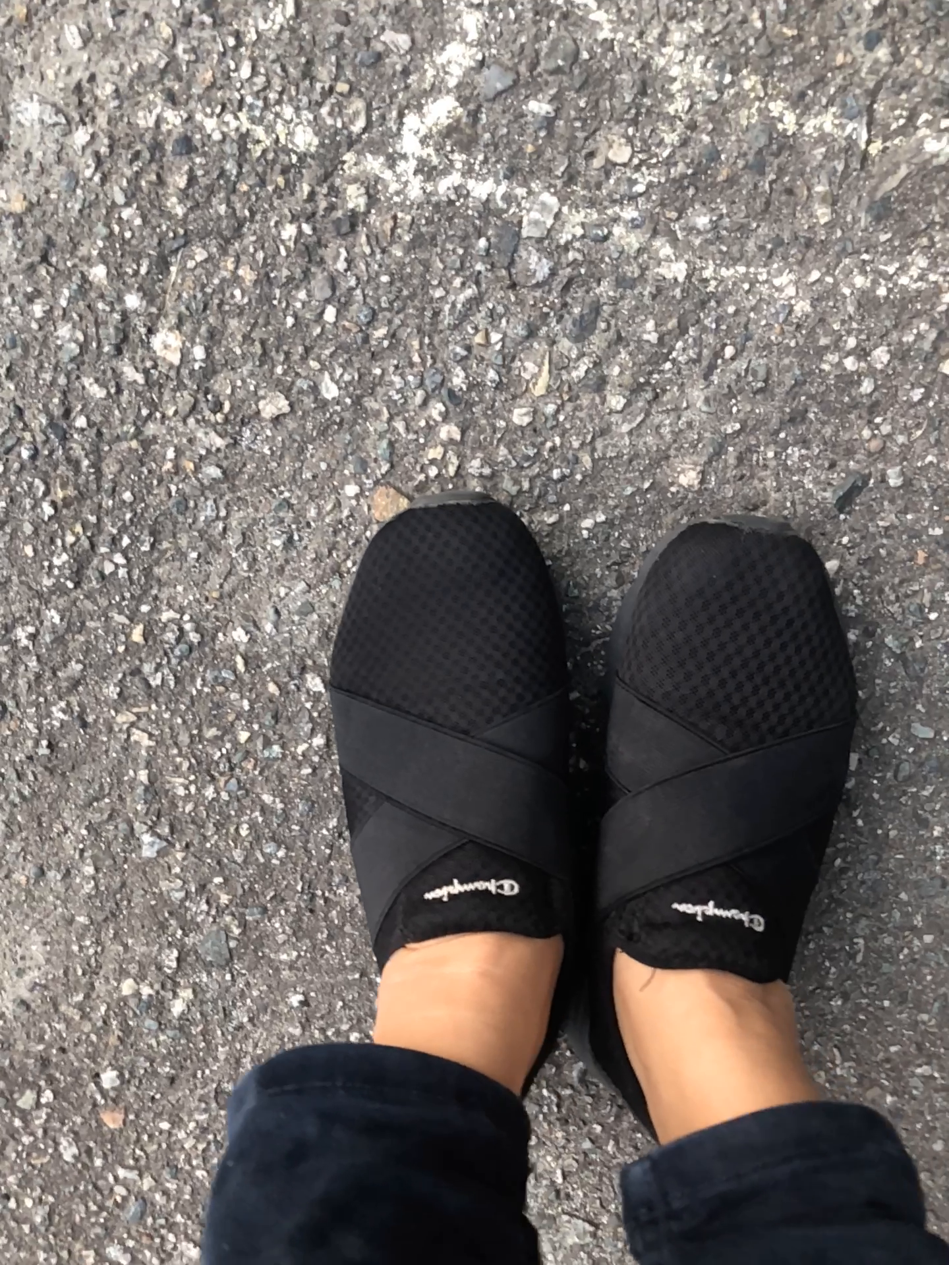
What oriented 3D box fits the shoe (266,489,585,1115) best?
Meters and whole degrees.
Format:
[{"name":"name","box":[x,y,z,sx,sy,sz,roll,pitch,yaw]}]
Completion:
[{"name":"shoe","box":[-0.011,0.062,0.389,0.100,0.070,0.220,0,106,4]}]

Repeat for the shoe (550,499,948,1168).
[{"name":"shoe","box":[0.090,0.071,0.383,0.100,0.080,0.220,6,106,2]}]
